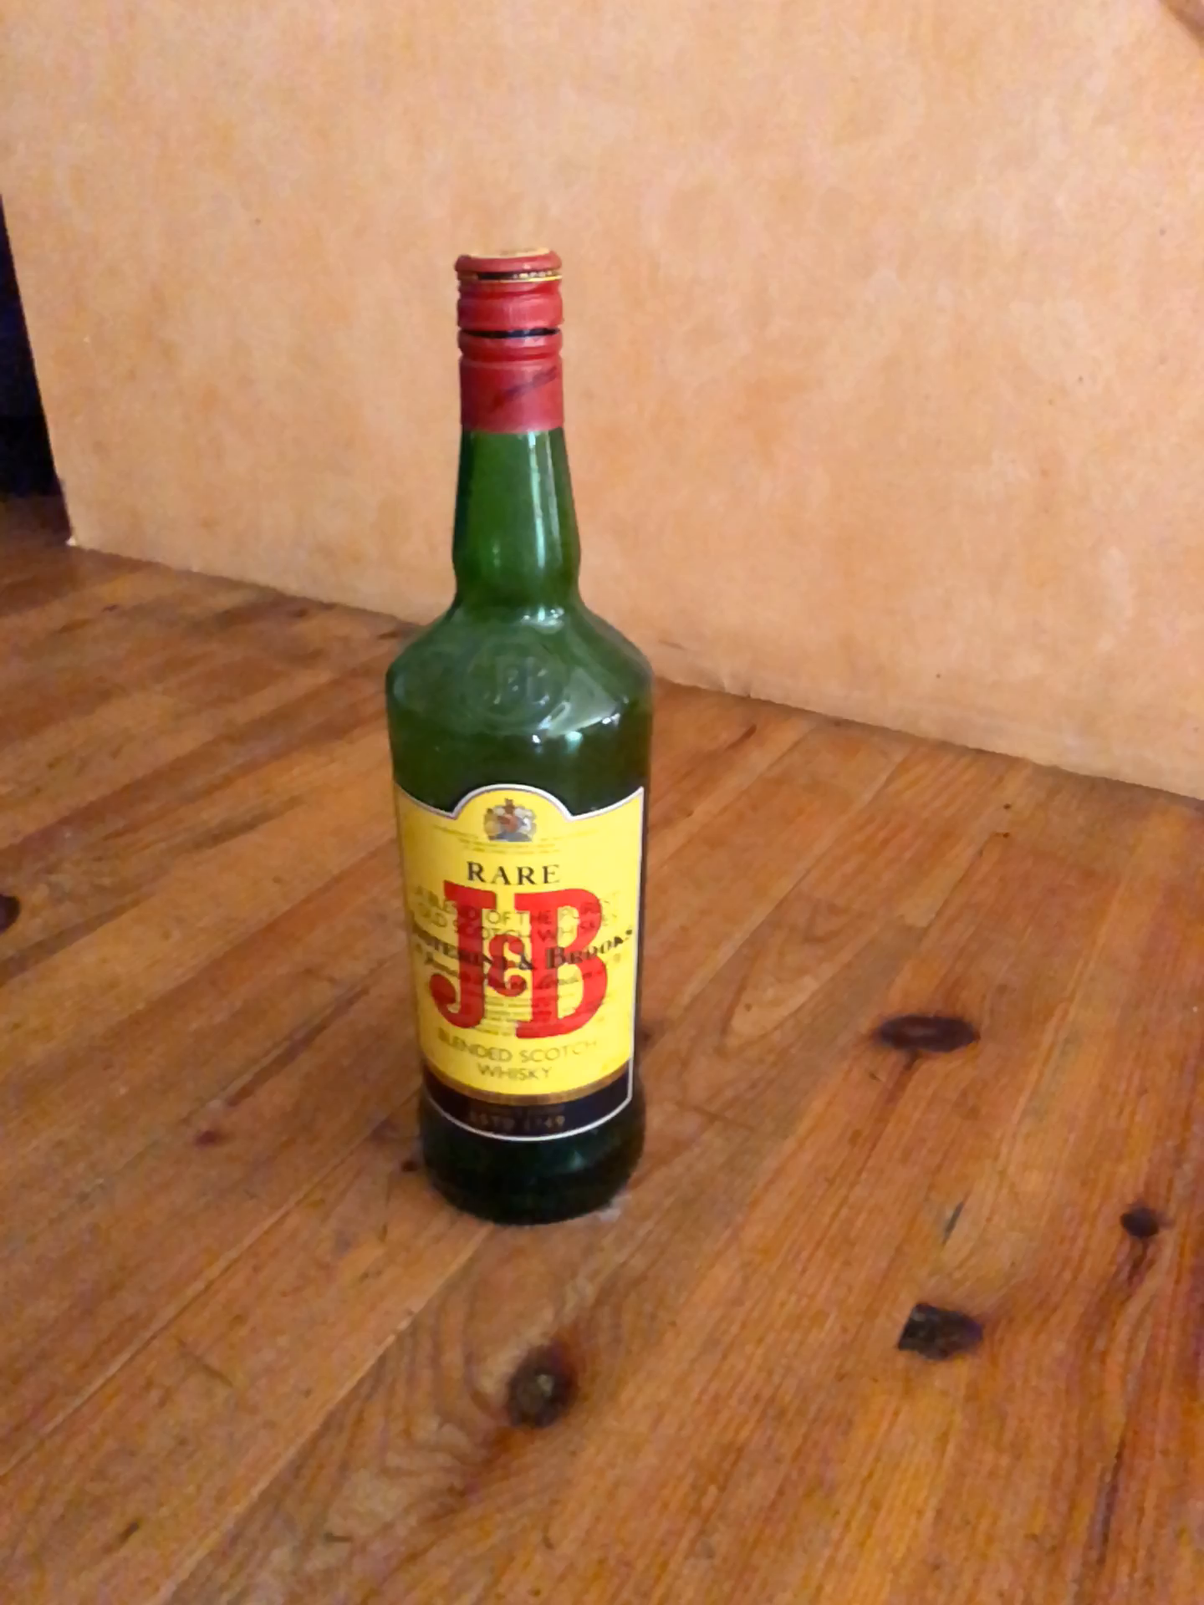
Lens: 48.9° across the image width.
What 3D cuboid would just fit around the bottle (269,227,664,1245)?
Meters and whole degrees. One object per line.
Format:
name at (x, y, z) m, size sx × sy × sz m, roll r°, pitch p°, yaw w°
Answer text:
bottle at (-0.030, -0.009, 0.426) m, size 0.090 × 0.318 × 0.080 m, roll 3°, pitch 28°, yaw 6°
